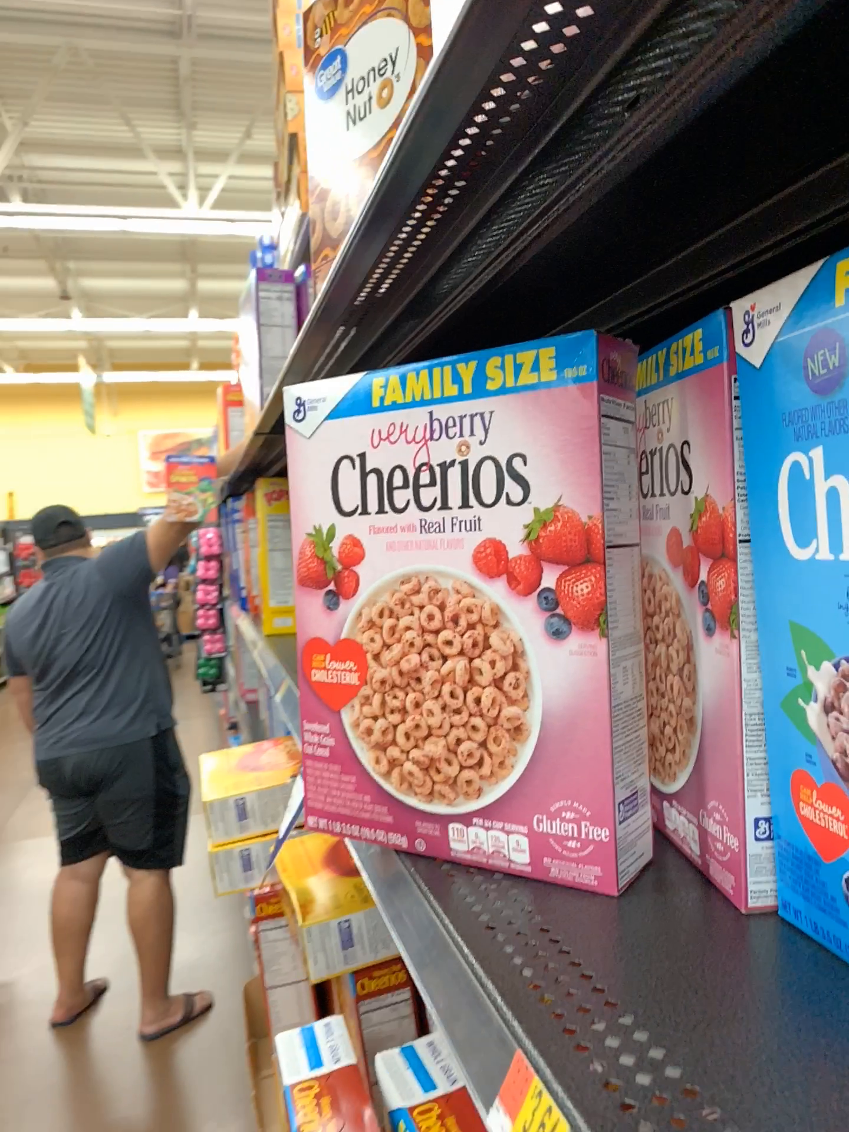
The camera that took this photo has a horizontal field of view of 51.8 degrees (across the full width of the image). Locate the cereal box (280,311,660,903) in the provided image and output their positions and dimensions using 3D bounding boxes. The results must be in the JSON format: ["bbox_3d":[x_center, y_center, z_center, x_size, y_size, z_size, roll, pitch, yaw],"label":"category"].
[{"bbox_3d":[0.020,0.023,0.566,0.240,0.320,0.060,-1,1,35],"label":"cereal box"}]
